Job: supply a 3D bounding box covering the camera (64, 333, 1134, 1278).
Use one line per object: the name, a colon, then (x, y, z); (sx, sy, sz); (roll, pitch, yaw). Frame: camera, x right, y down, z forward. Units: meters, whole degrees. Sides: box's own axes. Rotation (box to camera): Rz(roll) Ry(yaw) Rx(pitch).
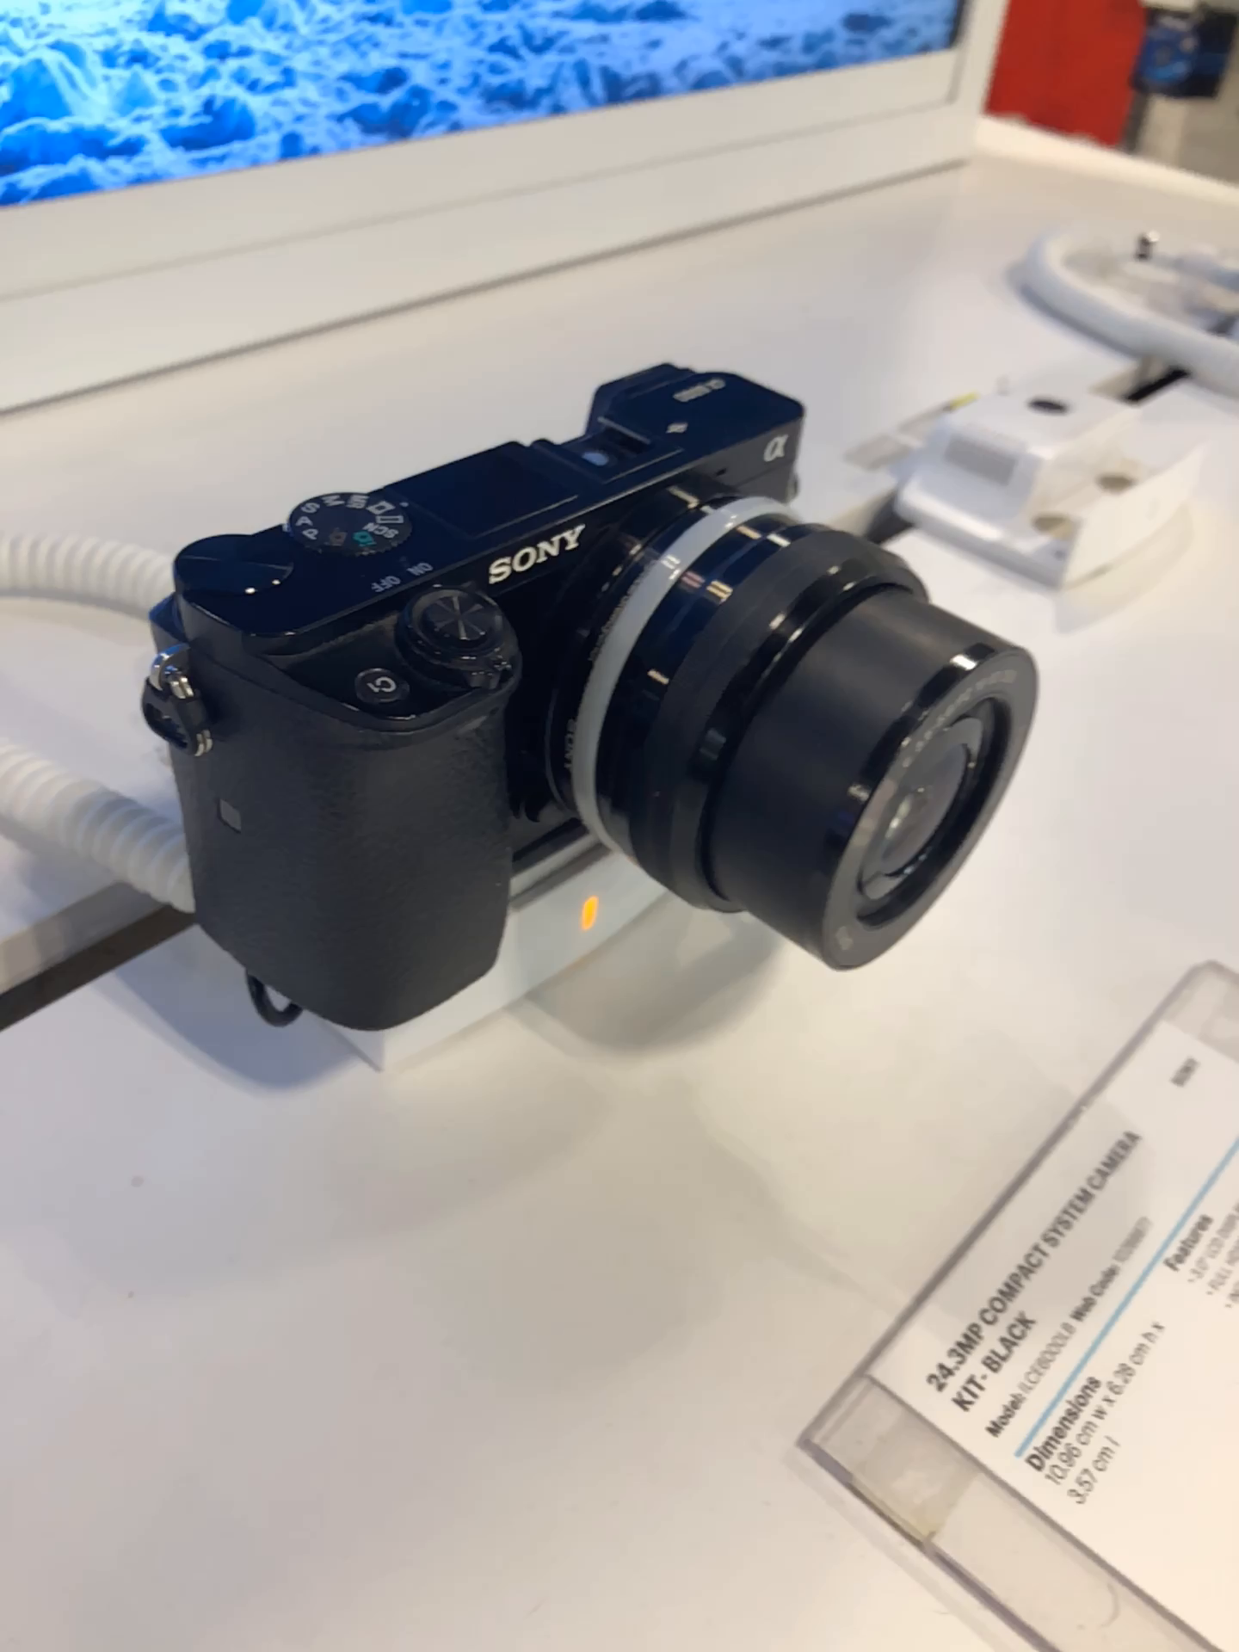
camera: (0.001, -0.018, 0.230); (0.100, 0.070, 0.130); (32, 46, 27)
